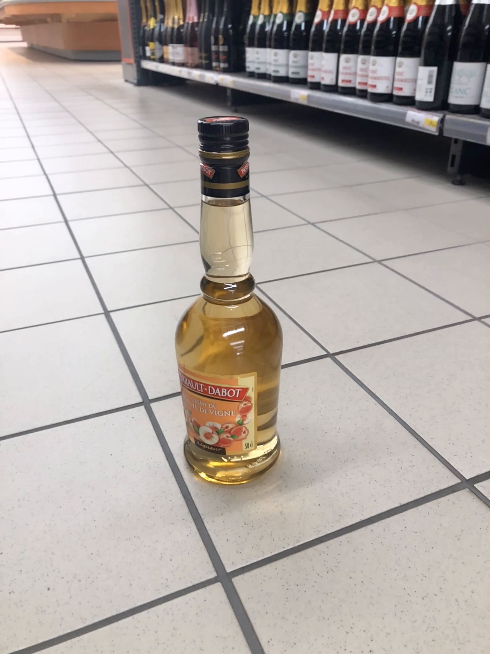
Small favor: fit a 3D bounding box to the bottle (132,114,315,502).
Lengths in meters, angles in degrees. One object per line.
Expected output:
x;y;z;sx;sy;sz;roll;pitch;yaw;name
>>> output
-0.009;-0.011;0.380;0.080;0.249;0.080;0;27;0;bottle
